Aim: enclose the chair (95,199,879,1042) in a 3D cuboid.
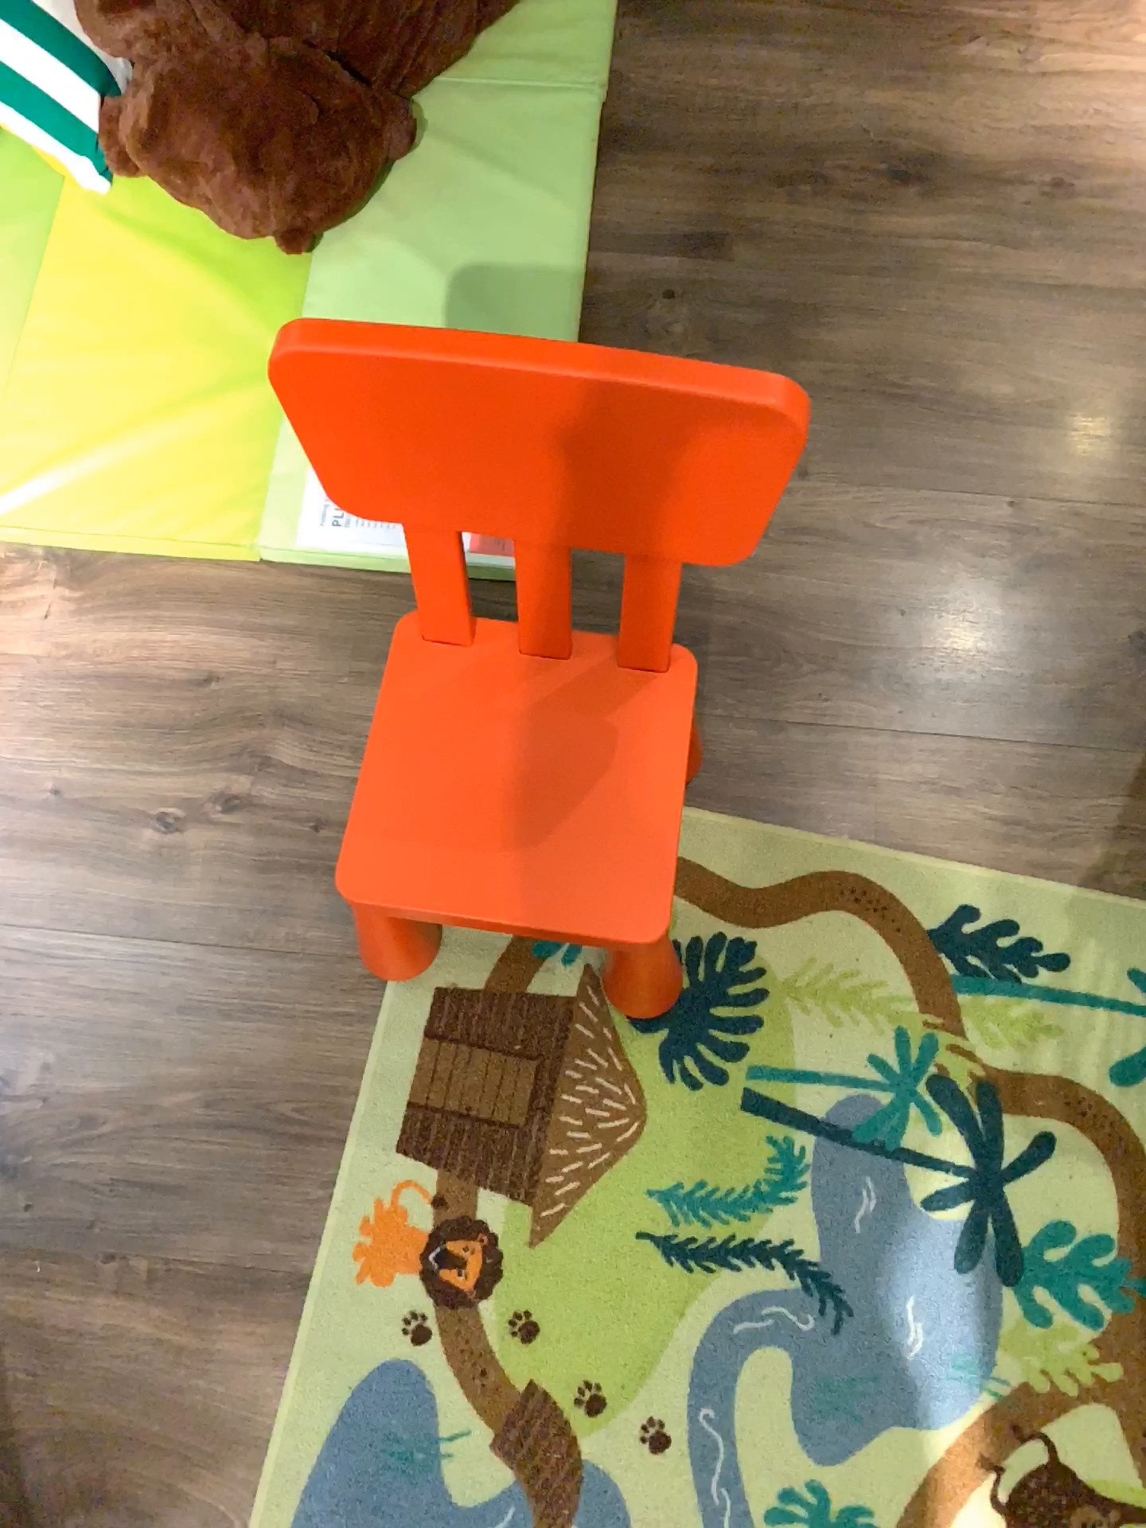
[{"bbox_3d":[-0.031,-0.056,1.038,0.430,0.600,0.490,8,73,3],"label":"chair"}]
